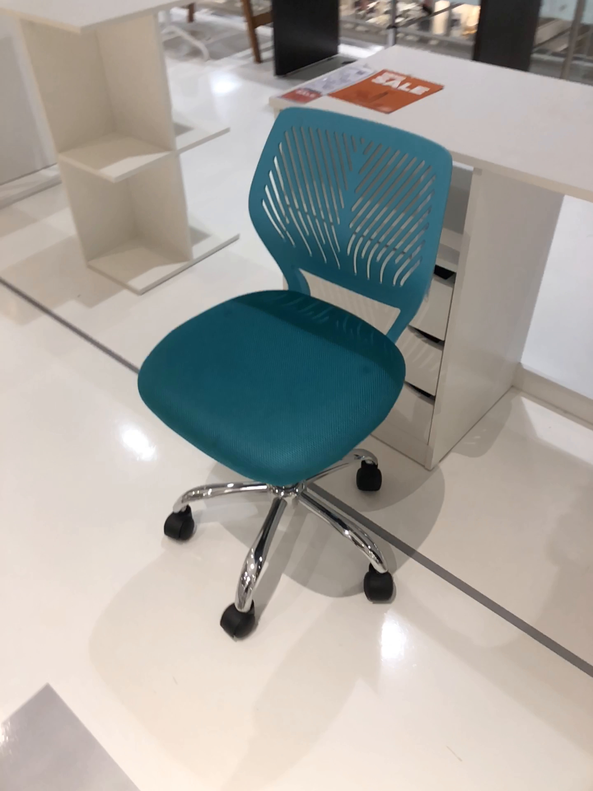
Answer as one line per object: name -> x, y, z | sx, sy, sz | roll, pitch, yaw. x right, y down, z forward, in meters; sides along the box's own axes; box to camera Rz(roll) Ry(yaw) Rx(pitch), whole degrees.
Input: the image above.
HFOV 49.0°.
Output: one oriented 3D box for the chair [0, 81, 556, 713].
chair -> -0.014, -0.011, 1.042 | 0.502, 0.724, 0.502 | 28, 49, 29
